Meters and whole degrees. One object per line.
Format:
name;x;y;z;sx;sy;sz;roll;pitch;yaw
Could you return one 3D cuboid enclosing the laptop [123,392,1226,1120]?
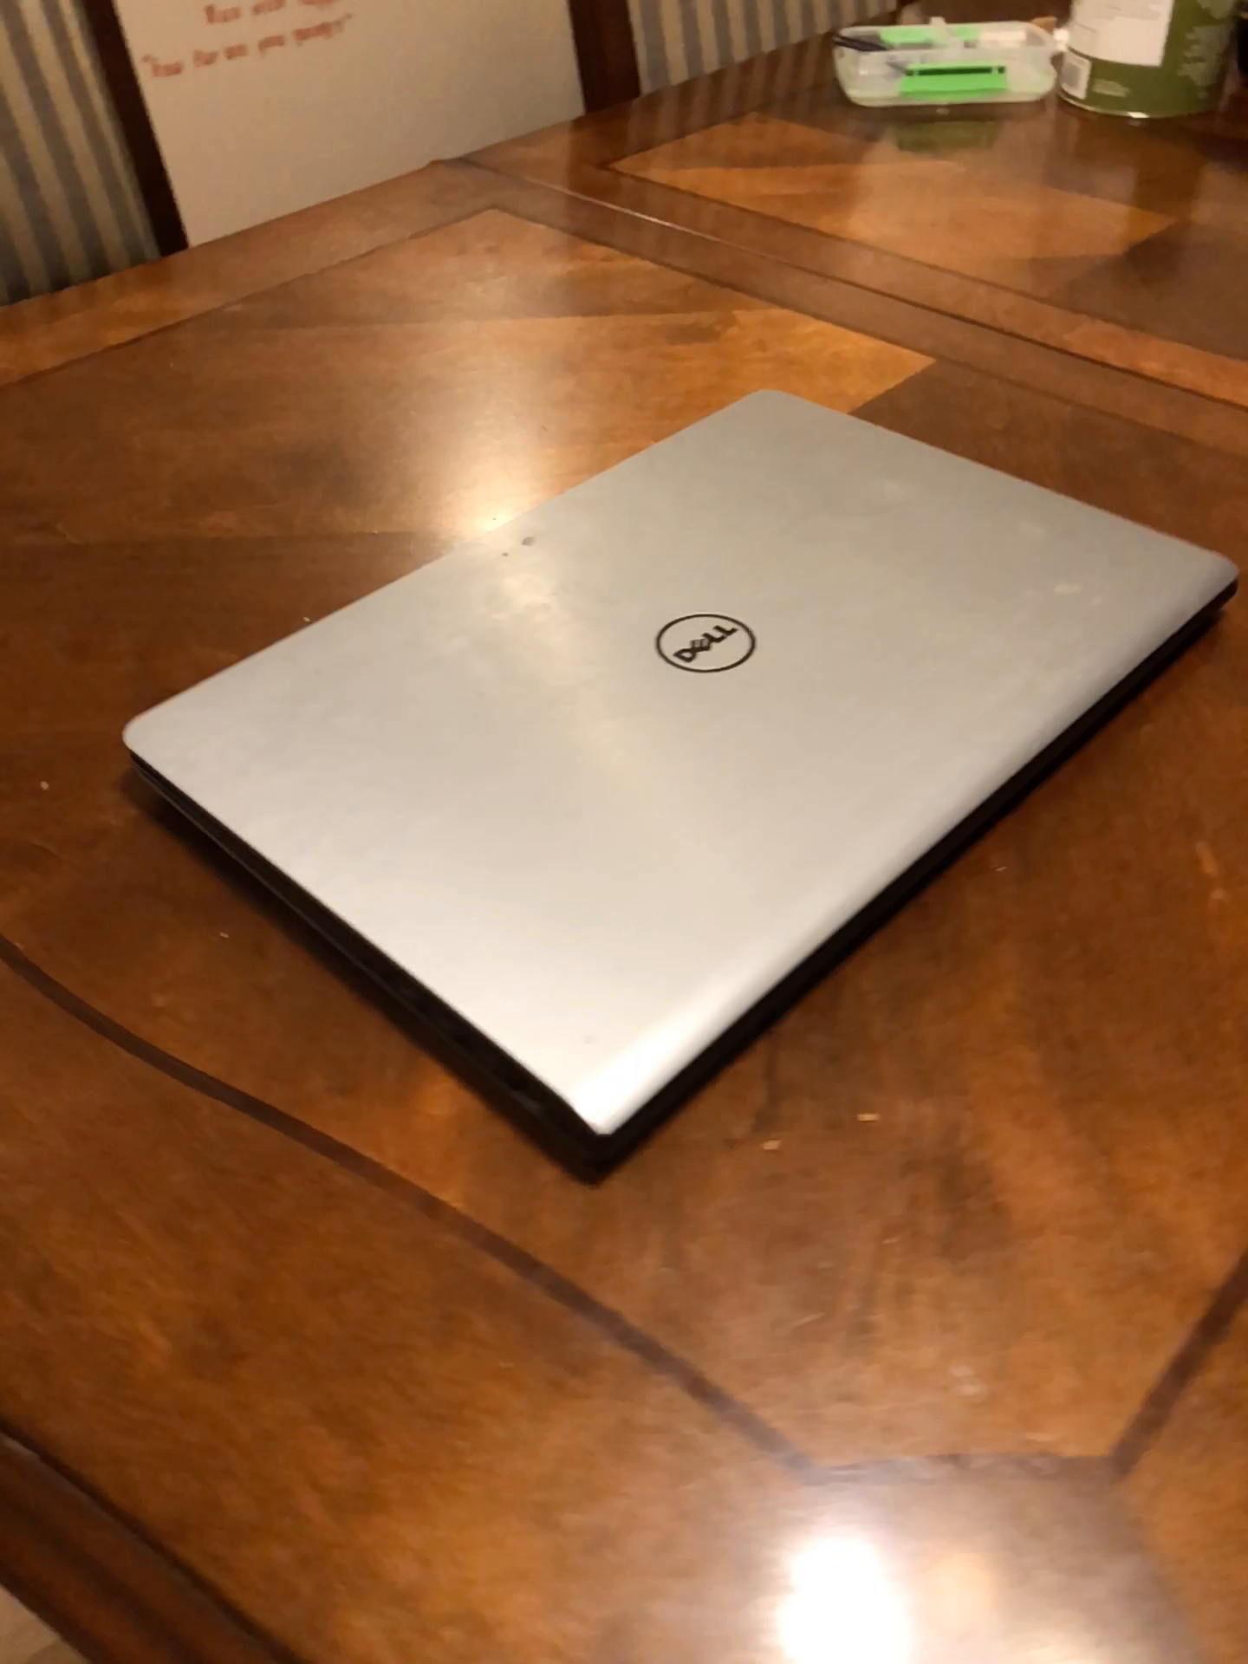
laptop;0.032;-0.071;0.528;0.244;0.002;0.364;33;53;31
